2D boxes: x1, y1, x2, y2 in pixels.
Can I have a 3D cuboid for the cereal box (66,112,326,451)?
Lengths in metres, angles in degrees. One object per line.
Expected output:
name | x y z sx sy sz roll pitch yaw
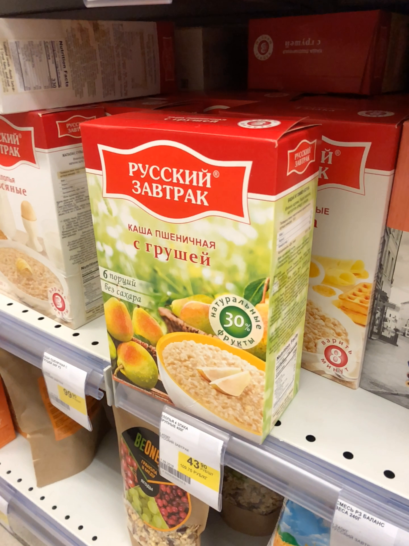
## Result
cereal box | -0.007 -0.001 0.301 0.140 0.189 0.060 15 29 30
